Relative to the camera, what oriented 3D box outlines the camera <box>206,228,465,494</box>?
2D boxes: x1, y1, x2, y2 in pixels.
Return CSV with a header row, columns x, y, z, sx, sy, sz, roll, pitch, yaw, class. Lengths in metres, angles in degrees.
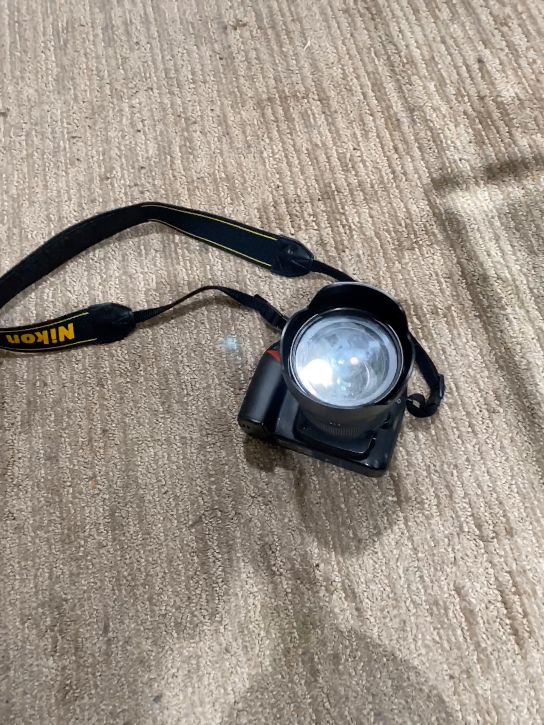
x,y,z,sx,sy,sz,roll,pitch,yaw,class
0.046,0.009,0.431,0.138,0.166,0.114,17,68,10,camera
